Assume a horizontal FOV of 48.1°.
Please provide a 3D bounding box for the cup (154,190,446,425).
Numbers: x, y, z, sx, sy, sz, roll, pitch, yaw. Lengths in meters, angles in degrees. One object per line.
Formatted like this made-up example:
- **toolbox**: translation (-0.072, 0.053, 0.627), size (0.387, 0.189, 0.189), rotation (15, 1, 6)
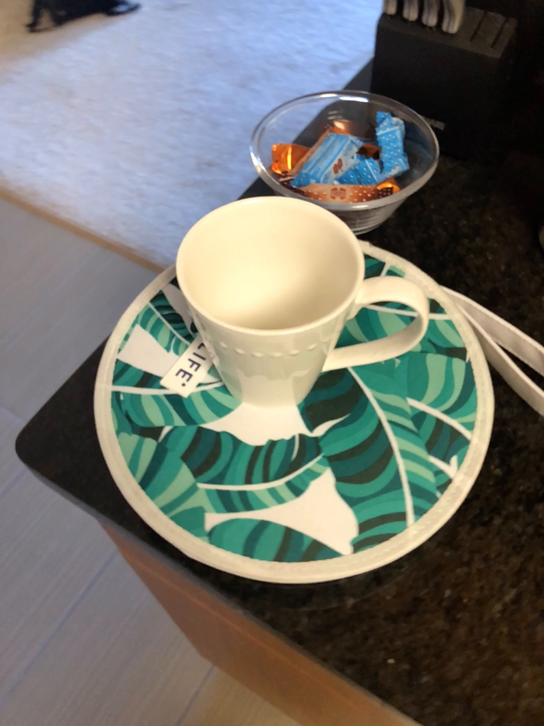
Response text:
- **cup**: translation (0.015, -0.029, 0.333), size (0.130, 0.090, 0.090), rotation (1, 55, 3)
